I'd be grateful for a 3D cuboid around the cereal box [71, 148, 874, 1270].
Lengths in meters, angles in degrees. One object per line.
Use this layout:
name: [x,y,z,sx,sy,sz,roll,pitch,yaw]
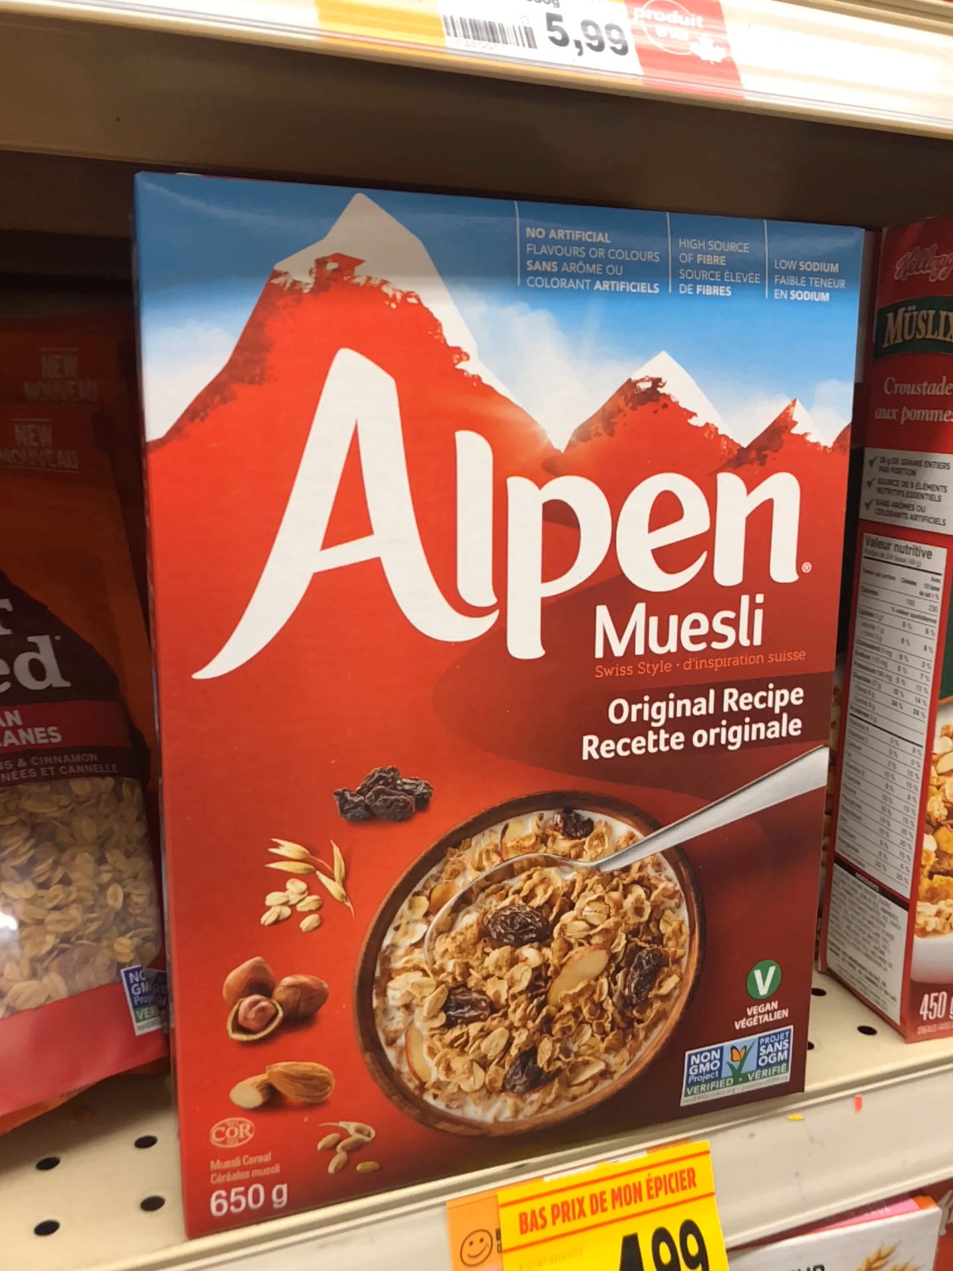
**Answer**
cereal box: [-0.002,0.017,0.274,0.180,0.239,0.060,-3,13,-21]
